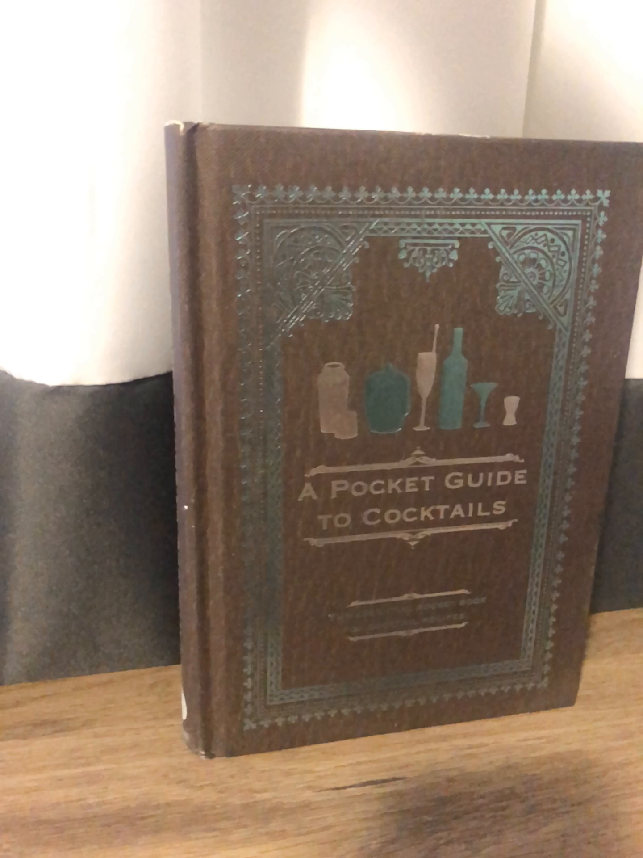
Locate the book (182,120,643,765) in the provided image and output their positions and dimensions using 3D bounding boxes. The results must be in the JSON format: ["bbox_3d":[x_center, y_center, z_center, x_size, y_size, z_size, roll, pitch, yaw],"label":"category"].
[{"bbox_3d":[0.028,0.010,0.237,0.137,0.200,0.022,-3,18,-13],"label":"book"}]
